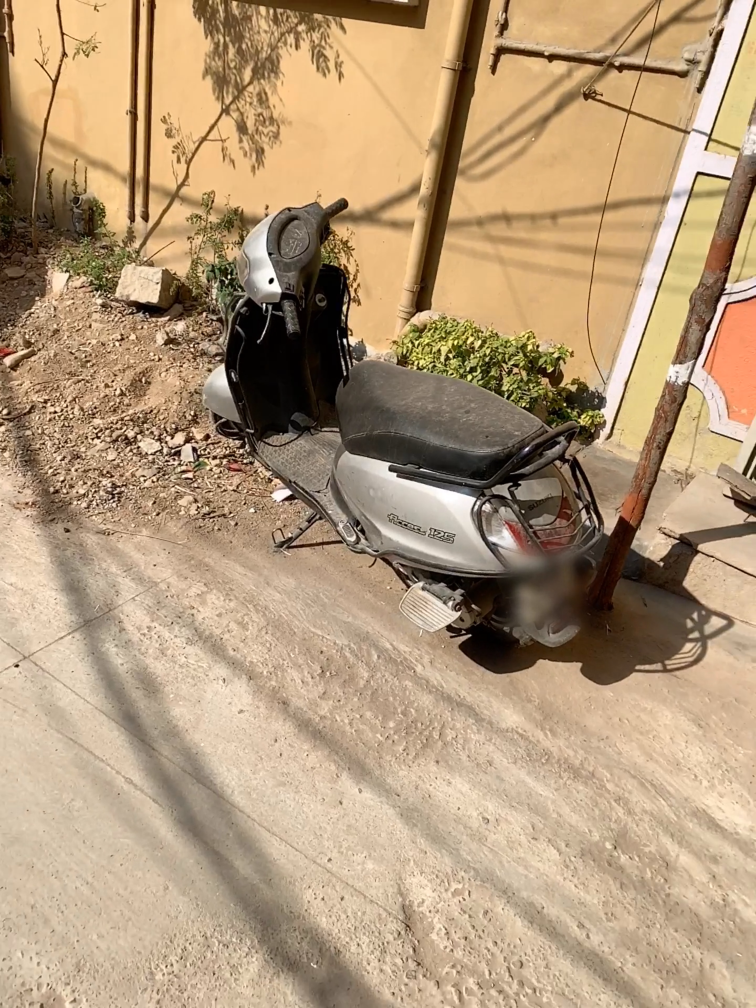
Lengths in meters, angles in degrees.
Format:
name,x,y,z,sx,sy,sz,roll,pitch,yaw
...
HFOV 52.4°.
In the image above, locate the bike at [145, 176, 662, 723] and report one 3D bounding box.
name,x,y,z,sx,sy,sz,roll,pitch,yaw
bike,-0.100,-0.299,2.309,0.550,1.001,1.512,-16,37,-39
